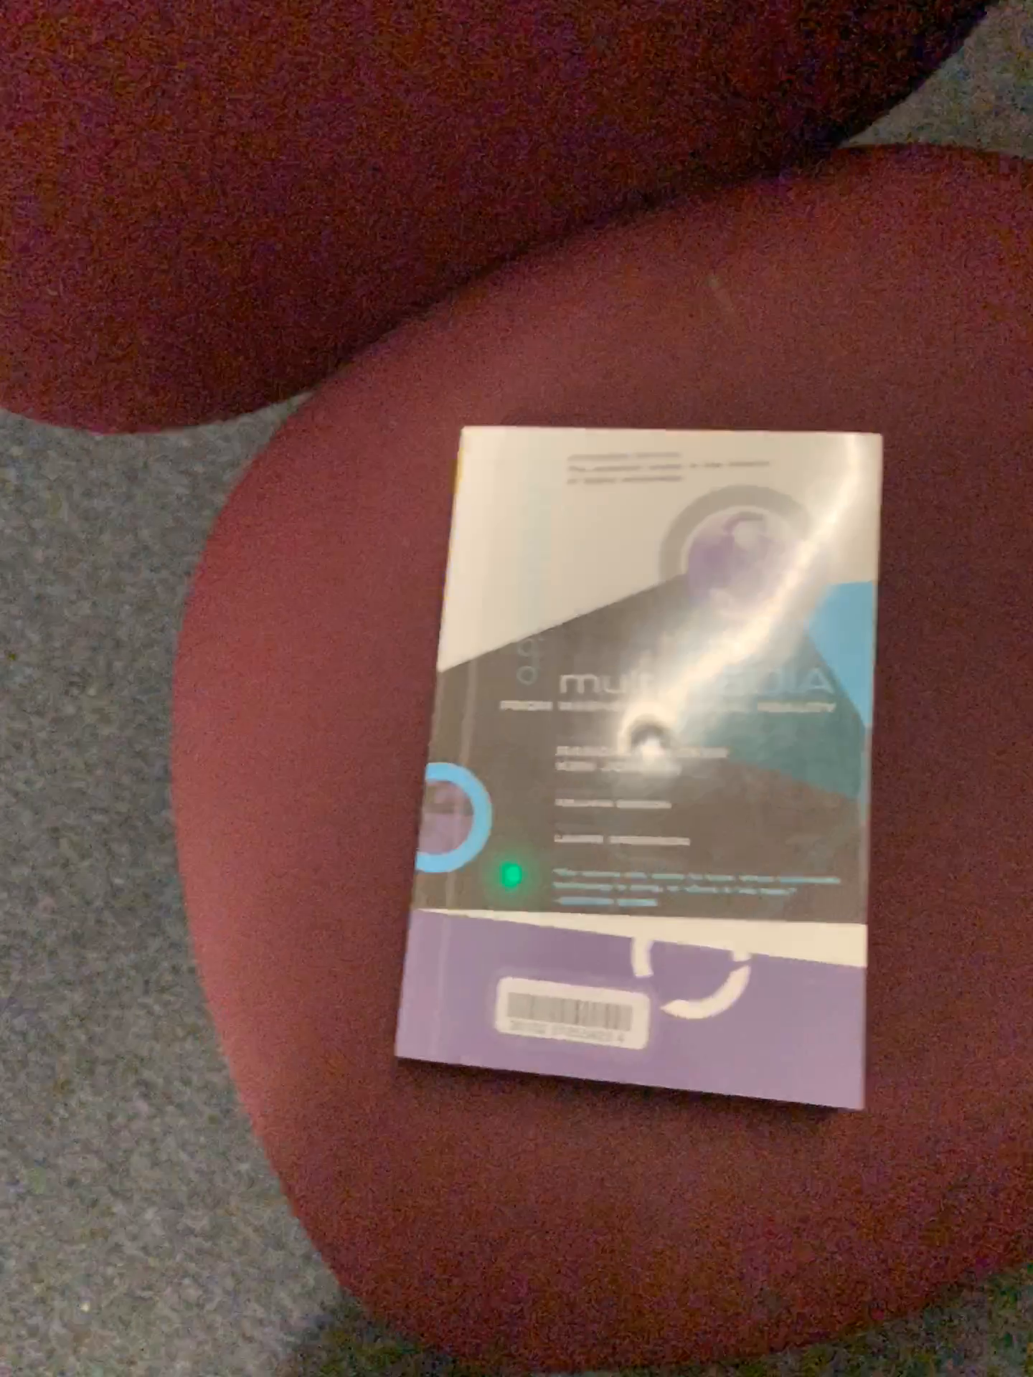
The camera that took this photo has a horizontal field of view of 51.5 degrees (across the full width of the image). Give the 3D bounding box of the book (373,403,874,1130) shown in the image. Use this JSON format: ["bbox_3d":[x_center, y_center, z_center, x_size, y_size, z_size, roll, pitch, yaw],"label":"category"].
[{"bbox_3d":[0.043,0.018,0.395,0.160,0.040,0.248,3,78,10],"label":"book"}]
